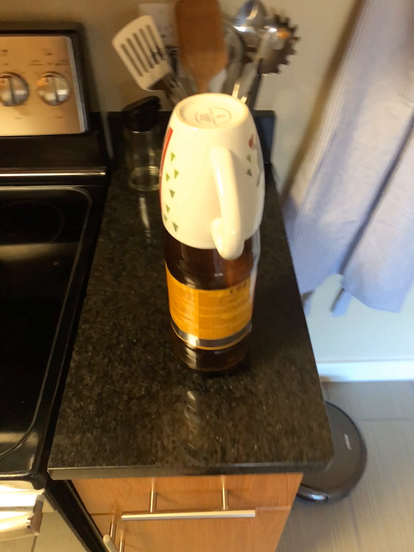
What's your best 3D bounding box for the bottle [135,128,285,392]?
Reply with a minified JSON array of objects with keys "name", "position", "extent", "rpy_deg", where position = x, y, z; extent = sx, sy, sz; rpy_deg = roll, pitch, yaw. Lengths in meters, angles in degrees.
[{"name":"bottle","position":[0.005,-0.003,0.515],"extent":[0.100,0.279,0.100],"rpy_deg":[0,45,0]}]
